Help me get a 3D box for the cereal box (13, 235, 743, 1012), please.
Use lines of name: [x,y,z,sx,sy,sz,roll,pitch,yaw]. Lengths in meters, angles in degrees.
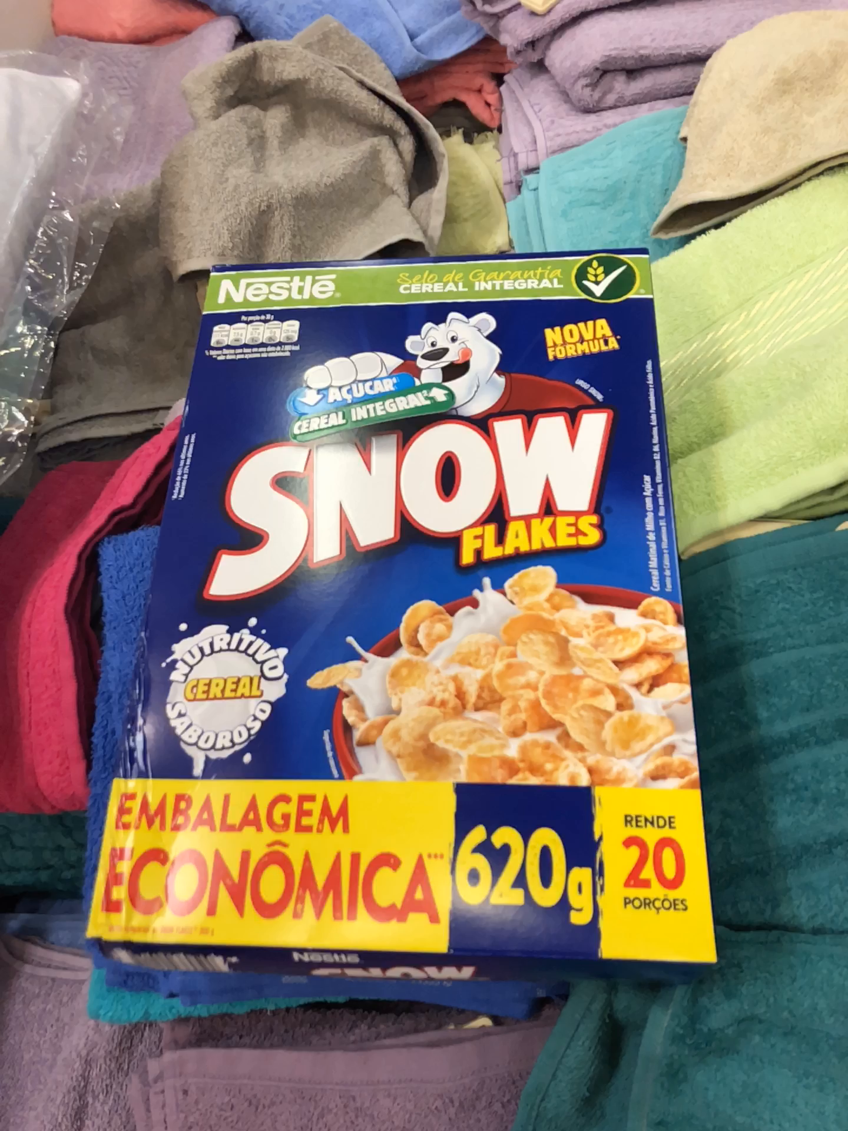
cereal box: [-0.007,0.006,0.379,0.220,0.070,0.301,-1,61,8]
